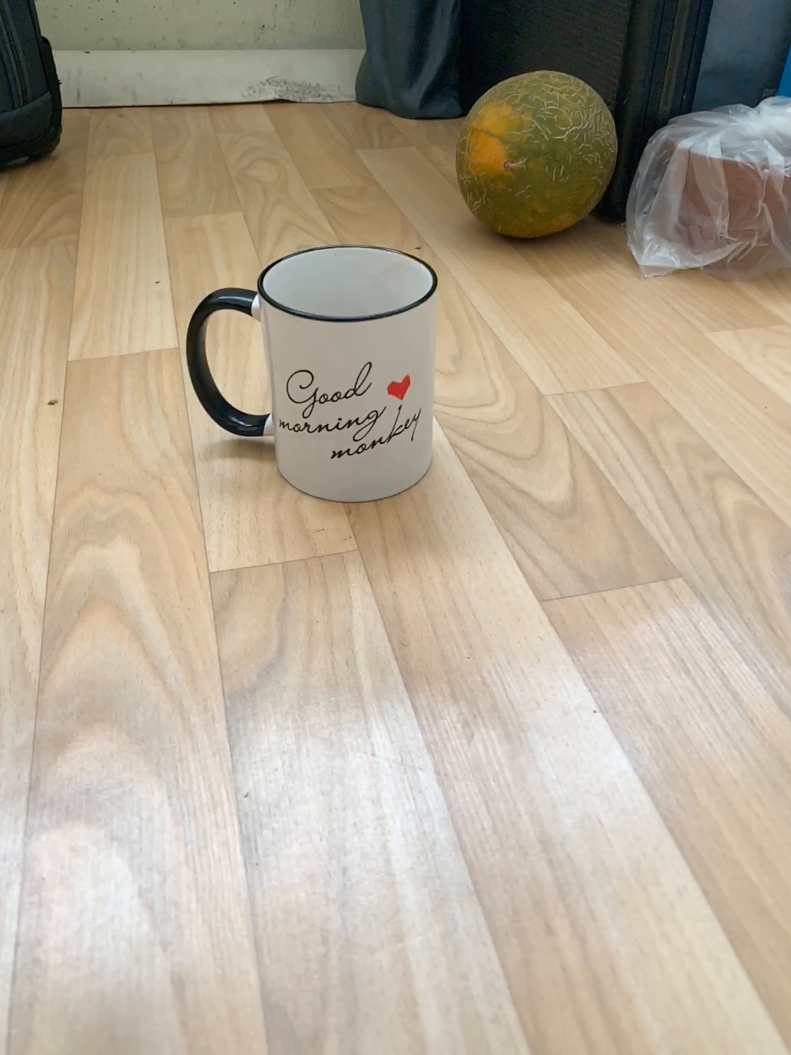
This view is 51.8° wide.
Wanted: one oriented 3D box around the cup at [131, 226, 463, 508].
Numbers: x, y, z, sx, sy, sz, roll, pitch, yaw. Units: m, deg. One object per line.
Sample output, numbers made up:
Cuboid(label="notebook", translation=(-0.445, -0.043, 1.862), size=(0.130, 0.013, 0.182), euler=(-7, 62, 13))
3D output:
Cuboid(label="cup", translation=(-0.039, -0.075, 0.381), size=(0.130, 0.100, 0.080), euler=(2, 40, 0))
